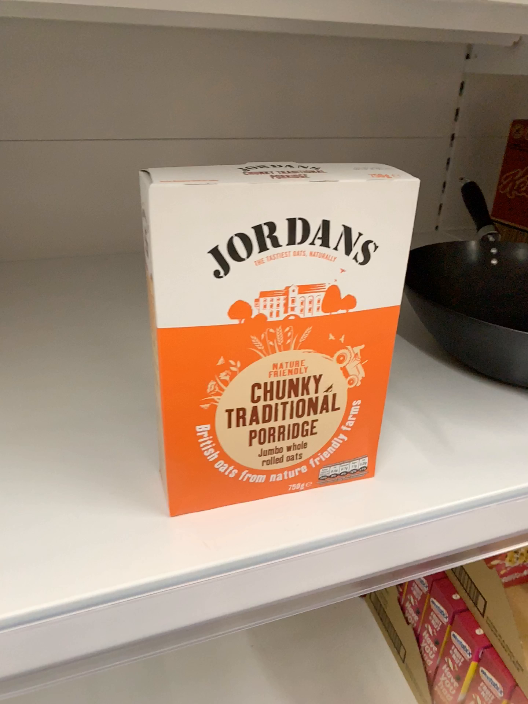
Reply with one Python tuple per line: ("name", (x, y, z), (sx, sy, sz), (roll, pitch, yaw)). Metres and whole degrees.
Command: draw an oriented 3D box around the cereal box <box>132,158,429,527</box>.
("cereal box", (0.007, -0.005, 0.425), (0.190, 0.268, 0.060), (-7, 28, -17))
